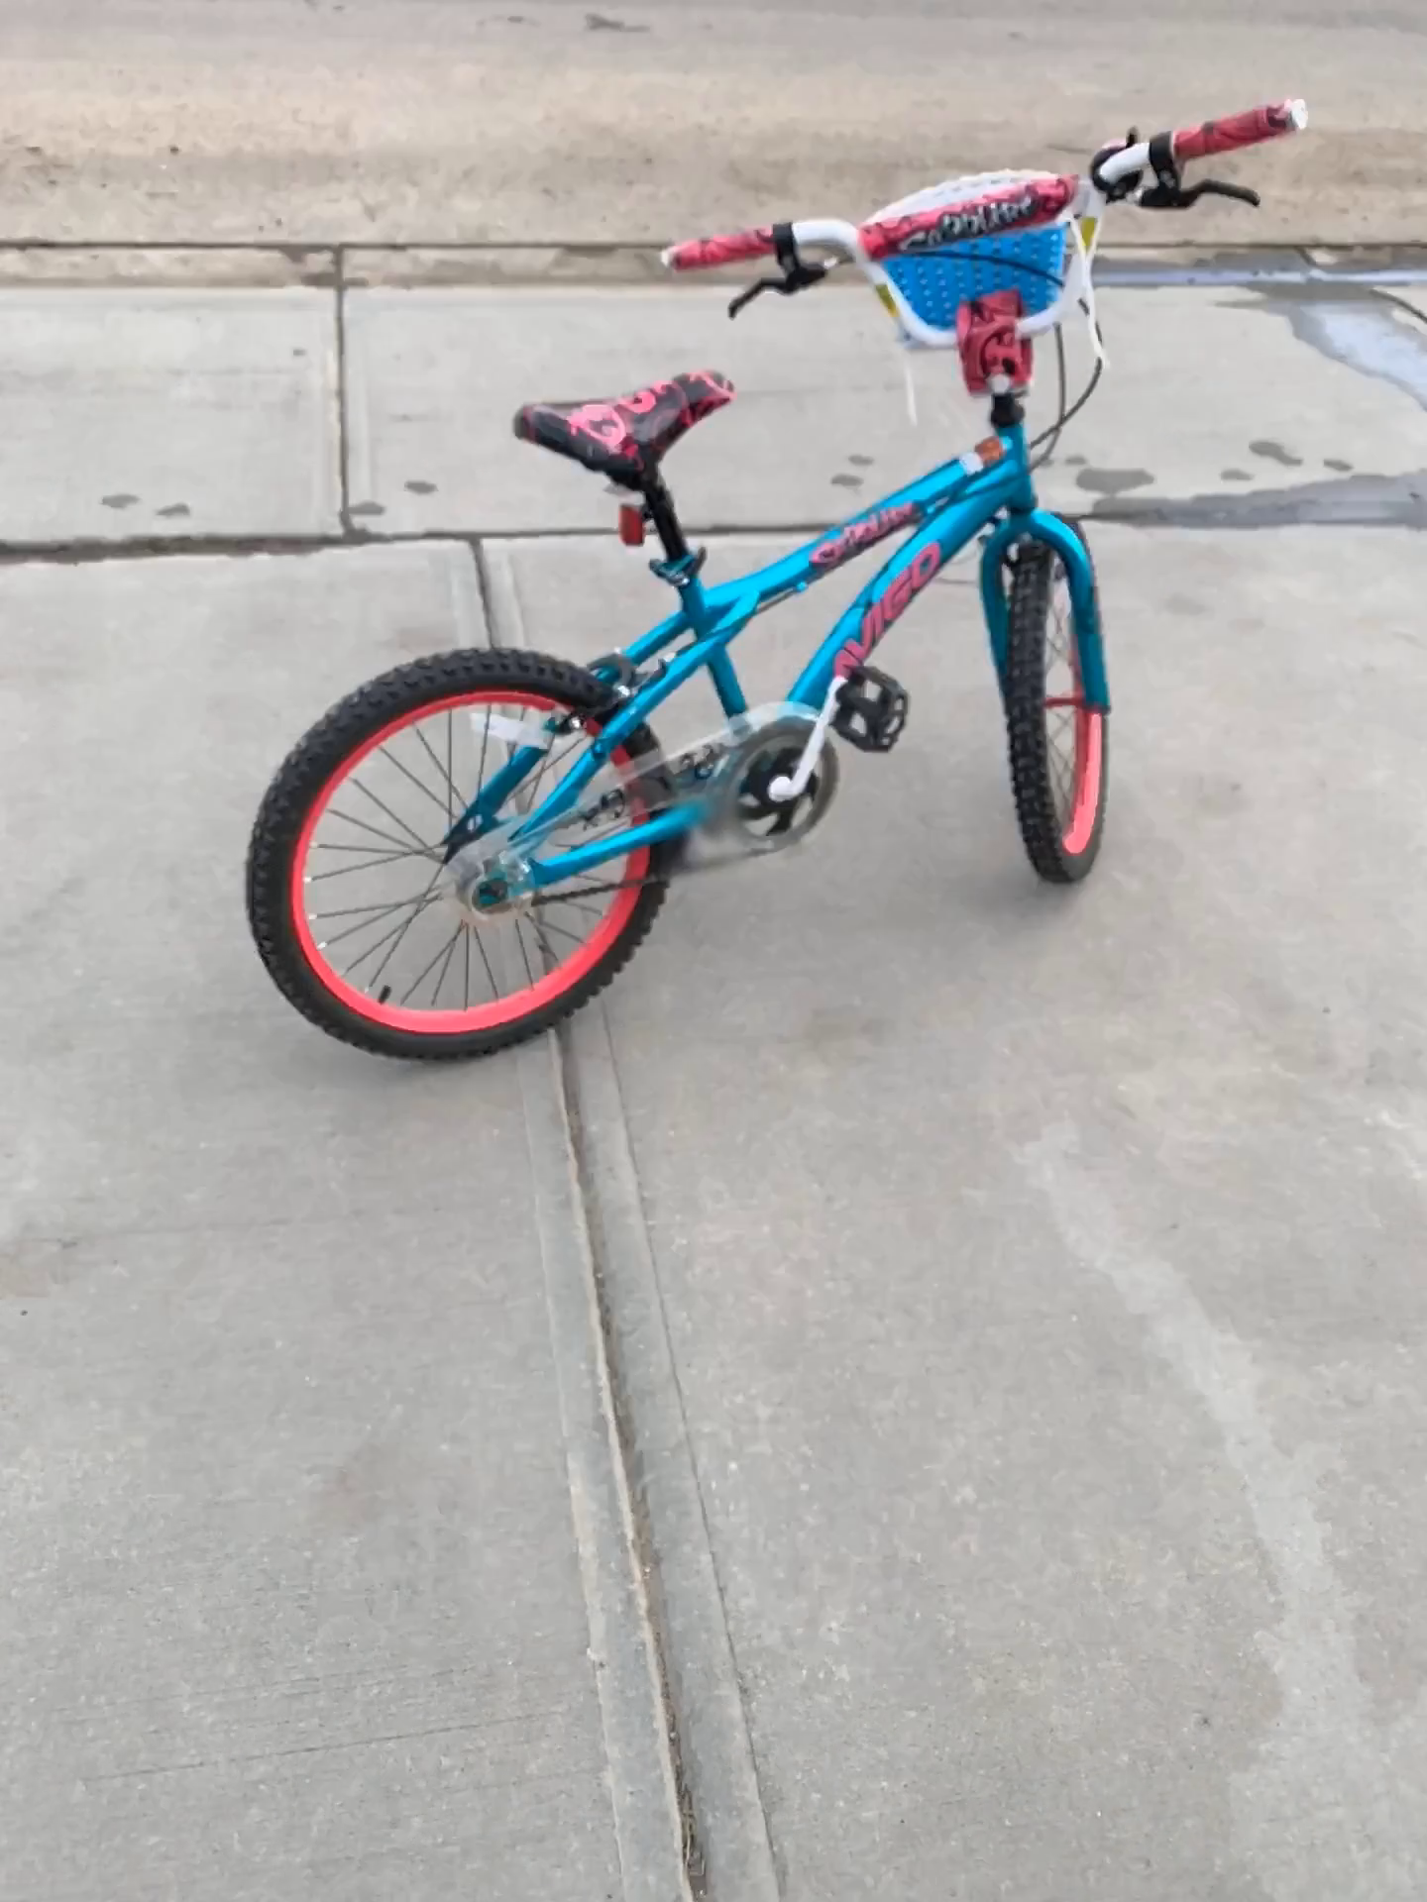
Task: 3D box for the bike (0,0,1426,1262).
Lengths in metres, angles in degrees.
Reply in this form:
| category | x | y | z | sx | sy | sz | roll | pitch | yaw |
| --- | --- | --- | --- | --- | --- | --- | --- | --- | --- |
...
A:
| category | x | y | z | sx | sy | sz | roll | pitch | yaw |
| --- | --- | --- | --- | --- | --- | --- | --- | --- | --- |
| bike | 0.012 | -0.510 | 1.686 | 1.258 | 0.946 | 0.747 | -25 | 51 | -26 |
